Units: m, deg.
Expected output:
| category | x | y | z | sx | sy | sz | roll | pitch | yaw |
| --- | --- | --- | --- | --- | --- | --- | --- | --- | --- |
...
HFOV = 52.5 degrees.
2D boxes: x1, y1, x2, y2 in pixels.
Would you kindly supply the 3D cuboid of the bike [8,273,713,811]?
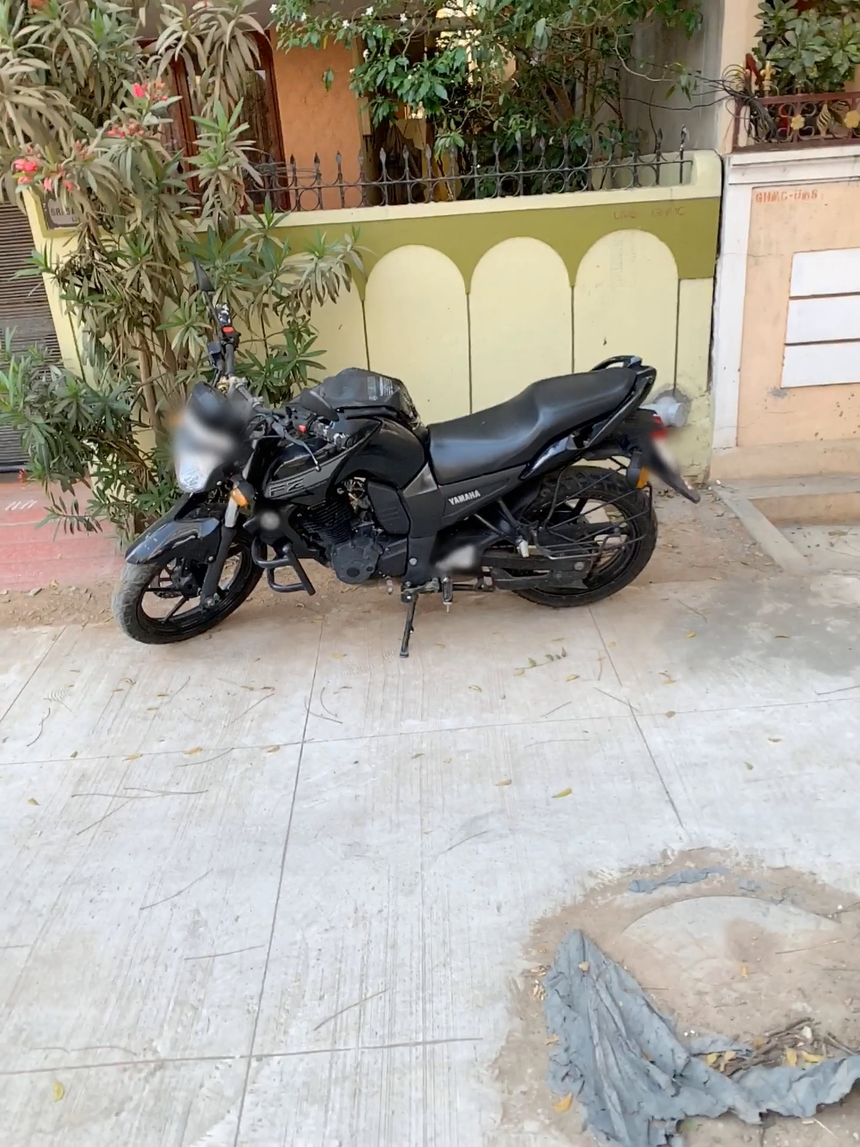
| category | x | y | z | sx | sy | sz | roll | pitch | yaw |
| --- | --- | --- | --- | --- | --- | --- | --- | --- | --- |
| bike | -0.123 | -0.137 | 2.601 | 1.683 | 1.076 | 0.750 | -9 | 24 | -1 |
